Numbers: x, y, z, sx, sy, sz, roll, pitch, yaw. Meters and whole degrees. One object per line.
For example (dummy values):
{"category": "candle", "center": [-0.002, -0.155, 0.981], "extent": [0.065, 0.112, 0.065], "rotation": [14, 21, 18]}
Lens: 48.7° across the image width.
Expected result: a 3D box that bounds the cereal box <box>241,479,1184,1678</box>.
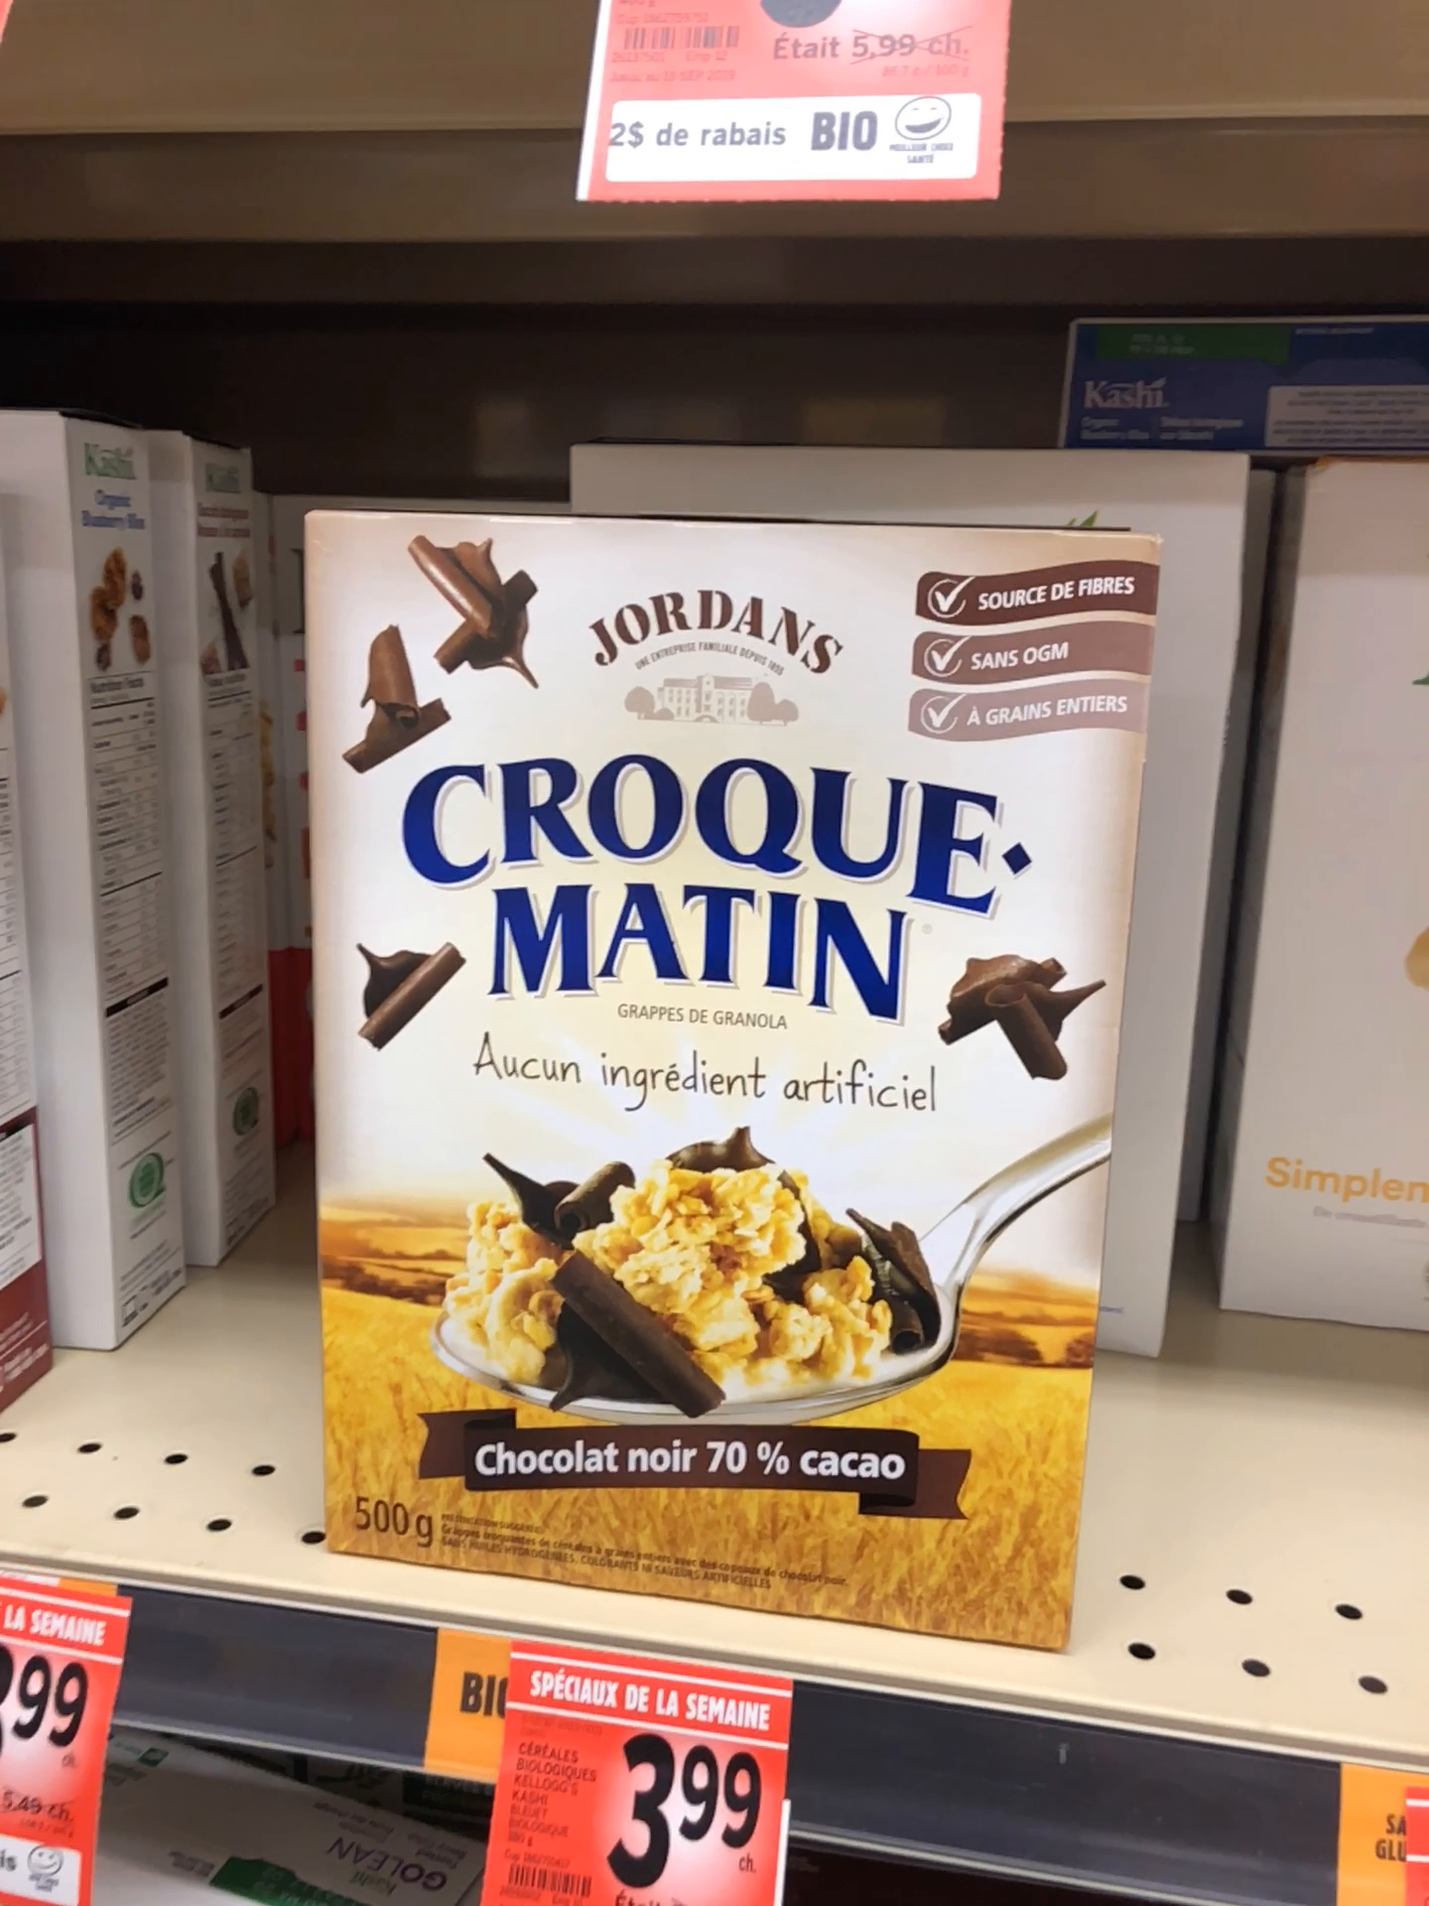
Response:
{"category": "cereal box", "center": [-0.005, 0.025, 0.361], "extent": [0.190, 0.249, 0.050], "rotation": [4, 11, 9]}
